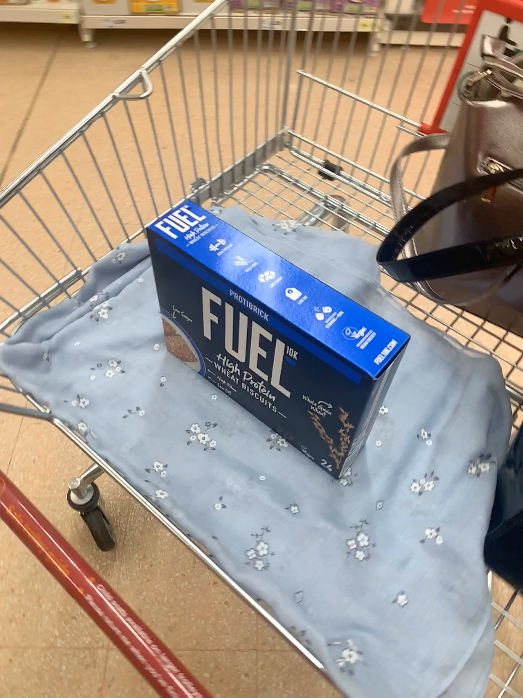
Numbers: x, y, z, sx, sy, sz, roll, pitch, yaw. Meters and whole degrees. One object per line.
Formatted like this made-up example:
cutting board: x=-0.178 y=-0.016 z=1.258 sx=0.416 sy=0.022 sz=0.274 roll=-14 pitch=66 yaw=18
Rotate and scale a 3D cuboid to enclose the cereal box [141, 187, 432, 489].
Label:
cereal box: x=0.009 y=-0.002 z=0.513 sx=0.251 sy=0.208 sz=0.060 roll=35 pitch=62 yaw=20
